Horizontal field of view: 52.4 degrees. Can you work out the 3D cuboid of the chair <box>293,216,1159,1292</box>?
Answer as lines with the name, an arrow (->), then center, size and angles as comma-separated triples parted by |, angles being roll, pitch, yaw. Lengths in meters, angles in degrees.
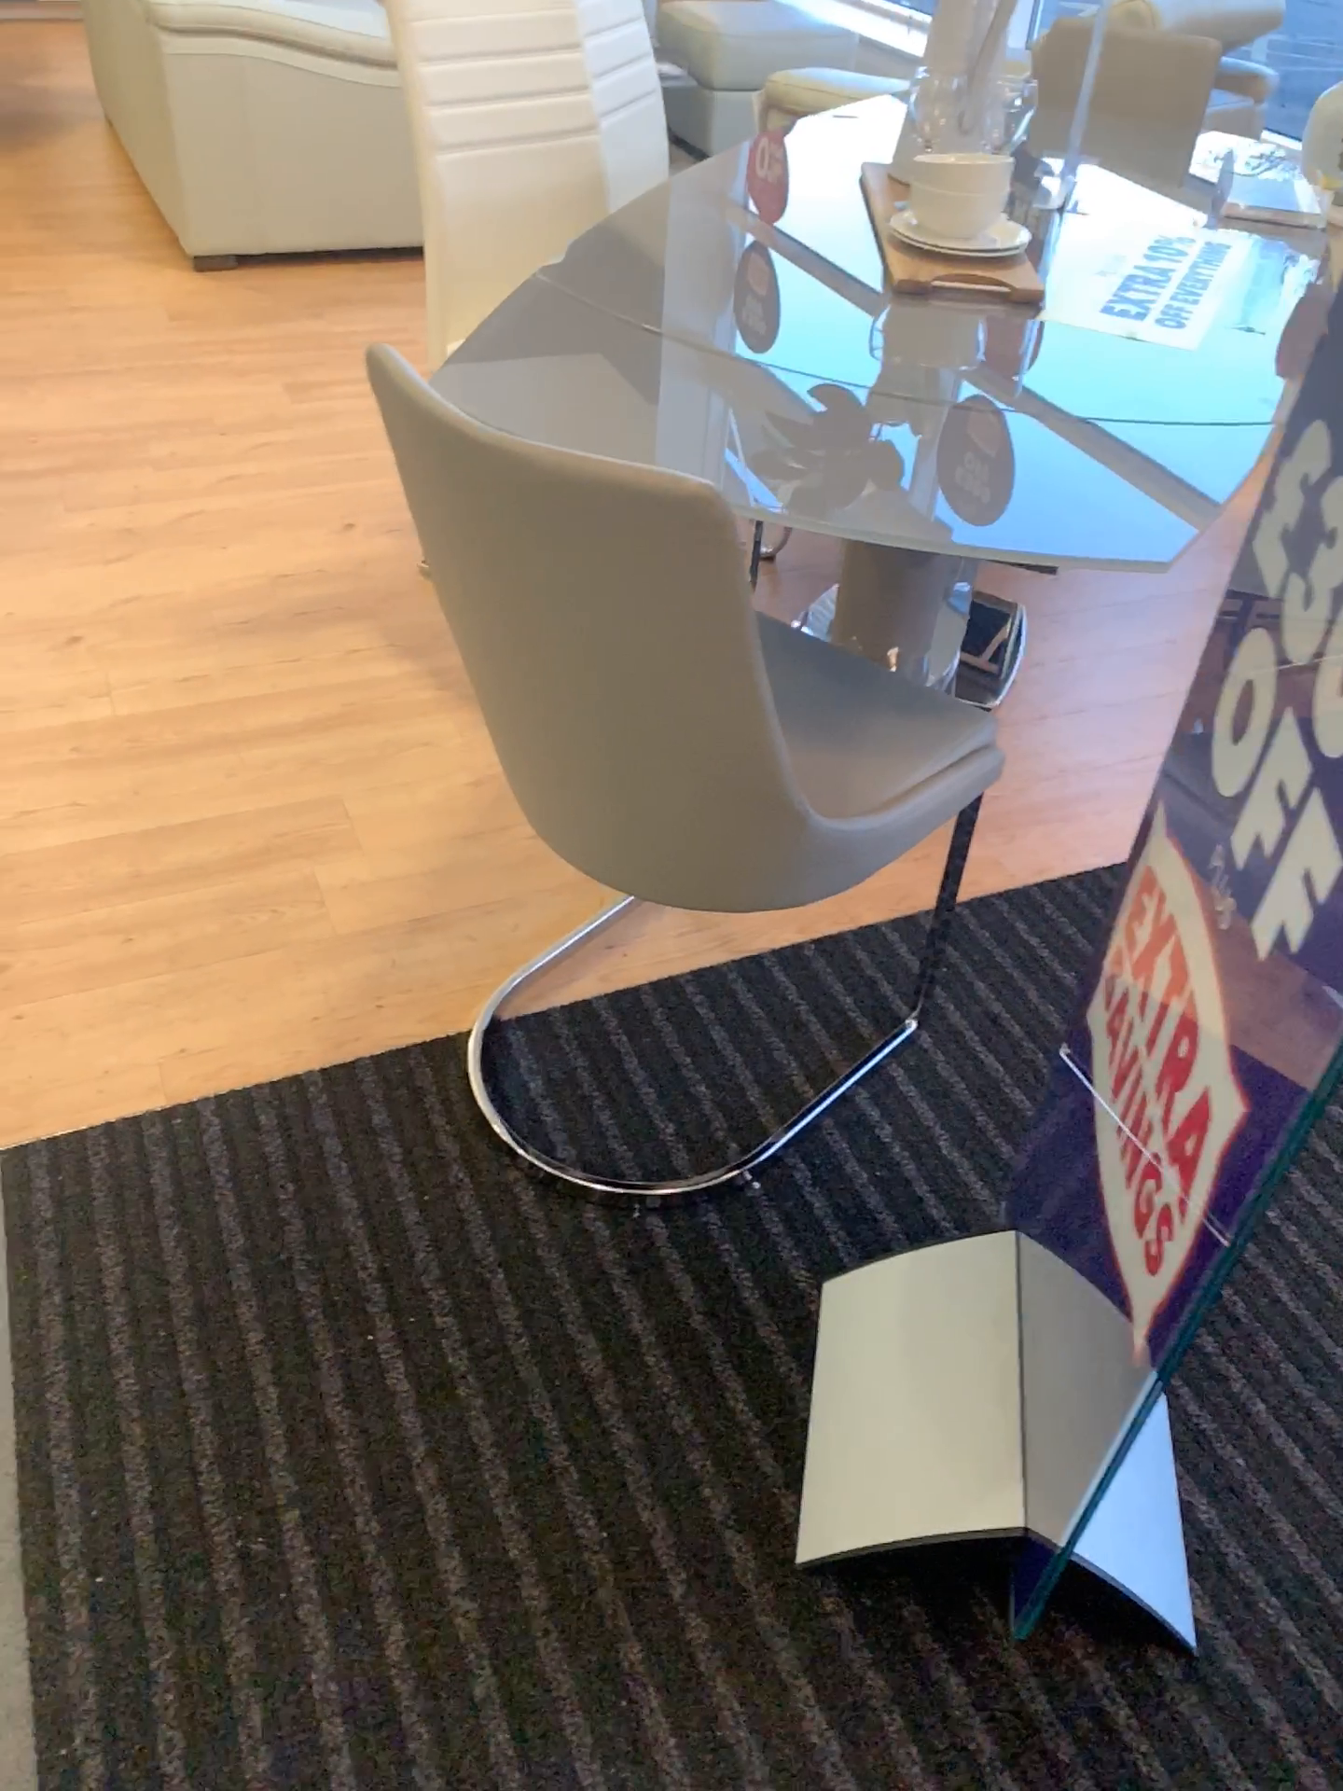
chair -> 0.043, -0.163, 1.457 | 0.508, 0.846, 0.593 | 29, 45, 26

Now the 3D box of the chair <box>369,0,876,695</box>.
chair -> -0.111, -1.003, 2.411 | 0.592, 1.024, 0.509 | 34, 48, 31
